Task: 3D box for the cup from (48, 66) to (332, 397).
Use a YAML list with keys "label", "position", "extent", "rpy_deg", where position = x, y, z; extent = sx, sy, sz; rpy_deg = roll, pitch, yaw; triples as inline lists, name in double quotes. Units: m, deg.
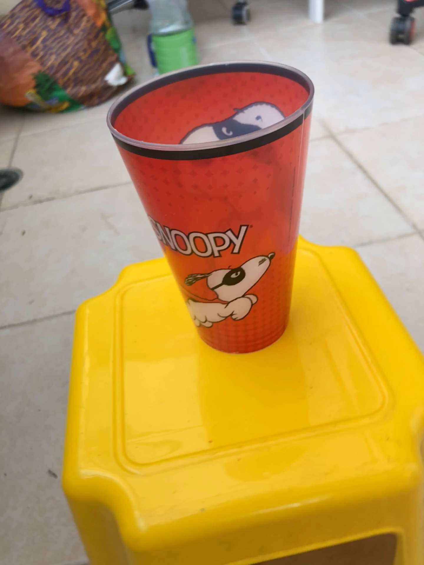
- label: "cup"
  position: [0.004, -0.032, 0.273]
  extent: [0.100, 0.139, 0.111]
  rpy_deg: [11, 46, 22]
